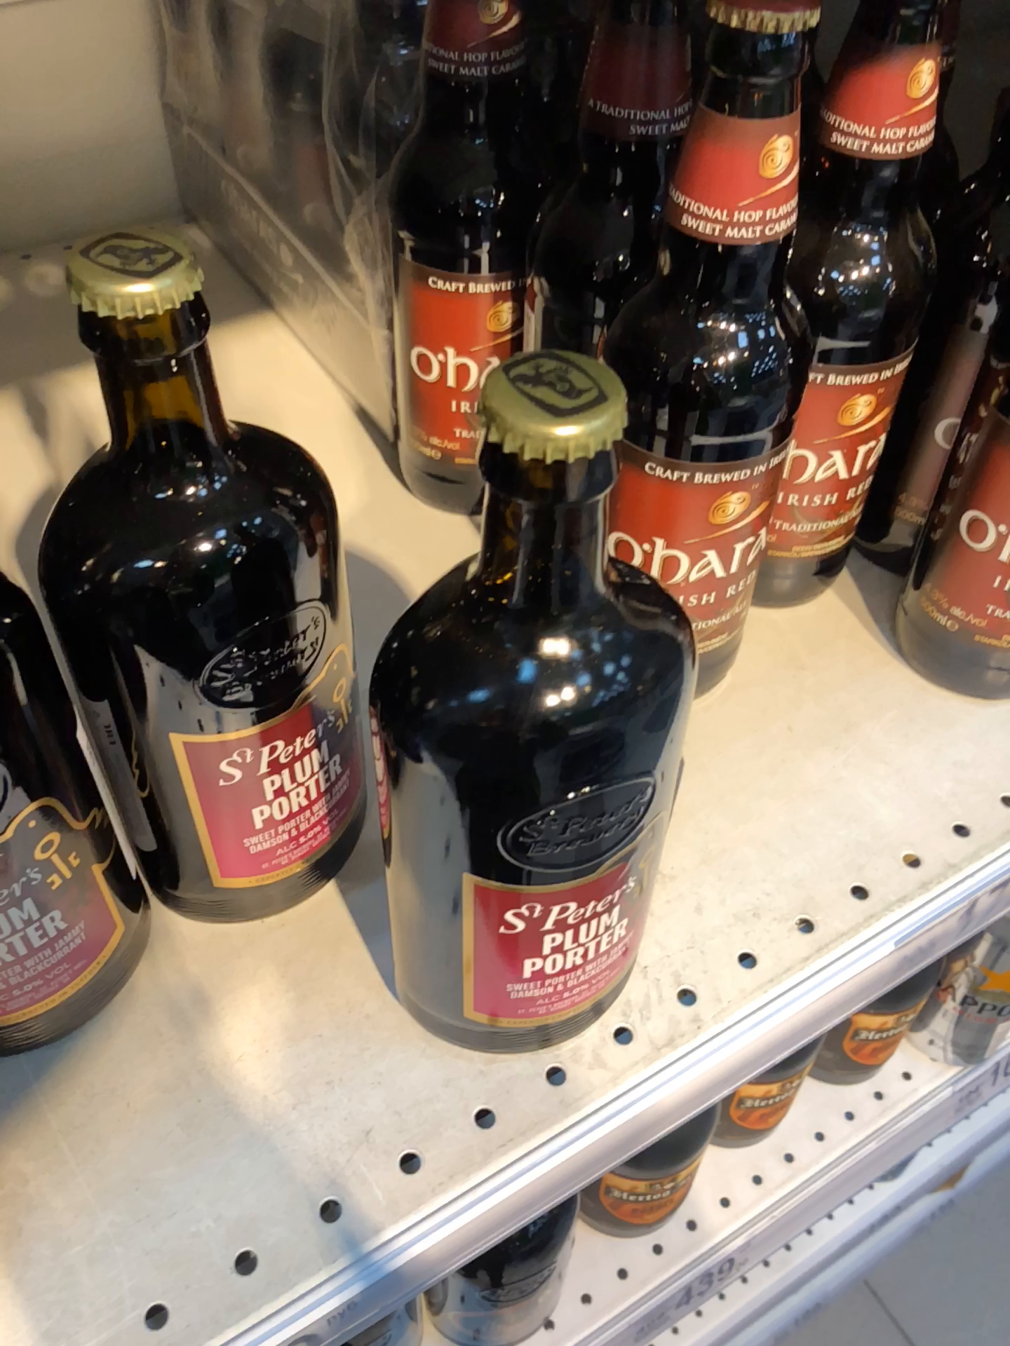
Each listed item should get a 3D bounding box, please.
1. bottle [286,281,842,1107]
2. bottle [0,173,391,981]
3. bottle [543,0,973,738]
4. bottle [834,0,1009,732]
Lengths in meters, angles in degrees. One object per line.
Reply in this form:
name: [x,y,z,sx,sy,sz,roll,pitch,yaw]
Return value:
bottle: [0.008,0.022,0.278,0.082,0.209,0.058,-20,51,-19]
bottle: [-0.090,-0.012,0.315,0.079,0.213,0.070,-31,55,-26]
bottle: [0.063,-0.086,0.363,0.071,0.231,0.070,1,47,-1]
bottle: [0.185,-0.090,0.367,0.074,0.235,0.070,1,47,-1]
